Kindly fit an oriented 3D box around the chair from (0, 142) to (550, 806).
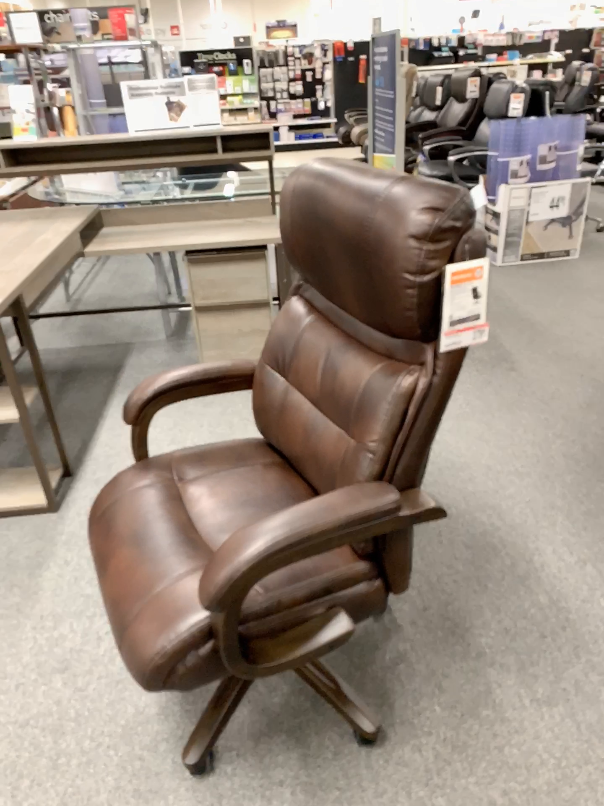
[{"bbox_3d":[-0.099,0.117,1.259,0.701,1.094,0.713,-17,32,-22],"label":"chair"}]
